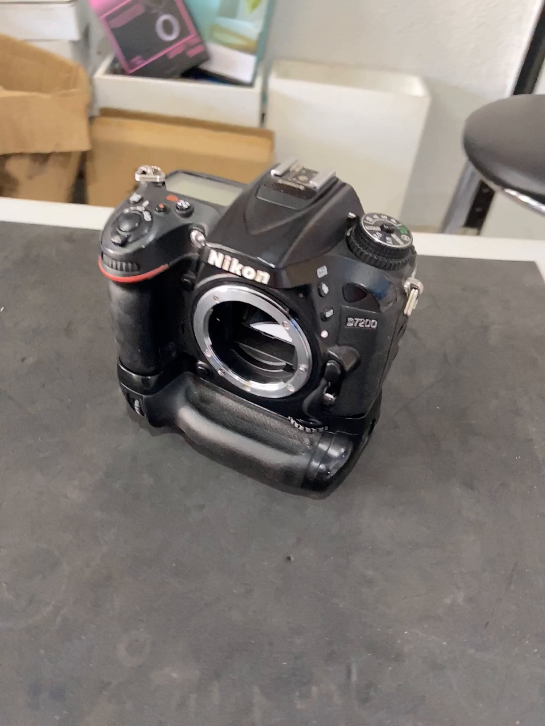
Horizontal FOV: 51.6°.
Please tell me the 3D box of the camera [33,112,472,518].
[{"bbox_3d":[-0.006,-0.028,0.256,0.140,0.109,0.101,21,45,17],"label":"camera"}]
